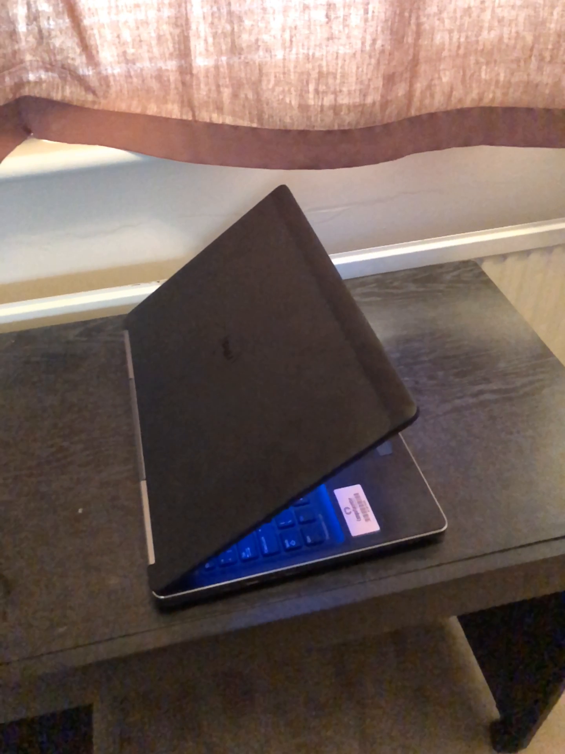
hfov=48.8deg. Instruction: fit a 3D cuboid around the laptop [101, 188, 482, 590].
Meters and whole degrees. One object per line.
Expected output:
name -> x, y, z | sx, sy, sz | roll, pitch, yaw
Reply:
laptop -> -0.025, -0.021, 0.583 | 0.243, 0.134, 0.365 | -11, 43, -8
